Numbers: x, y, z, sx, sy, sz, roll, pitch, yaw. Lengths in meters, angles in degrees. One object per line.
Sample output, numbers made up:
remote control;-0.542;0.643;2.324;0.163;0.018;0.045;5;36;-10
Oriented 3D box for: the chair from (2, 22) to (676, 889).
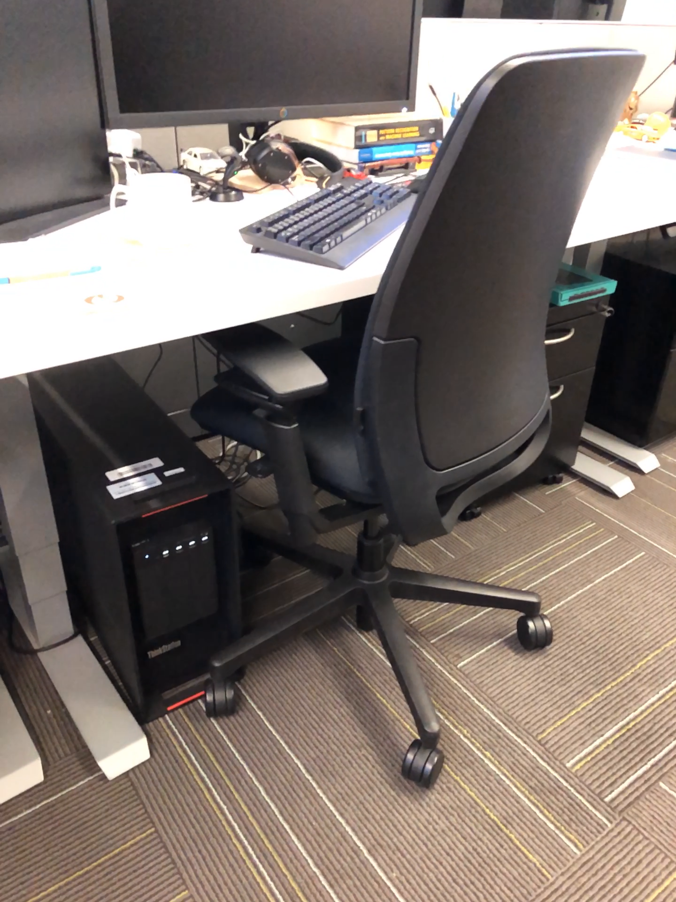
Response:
chair;0.064;-0.089;1.219;0.722;1.044;0.712;27;39;36
